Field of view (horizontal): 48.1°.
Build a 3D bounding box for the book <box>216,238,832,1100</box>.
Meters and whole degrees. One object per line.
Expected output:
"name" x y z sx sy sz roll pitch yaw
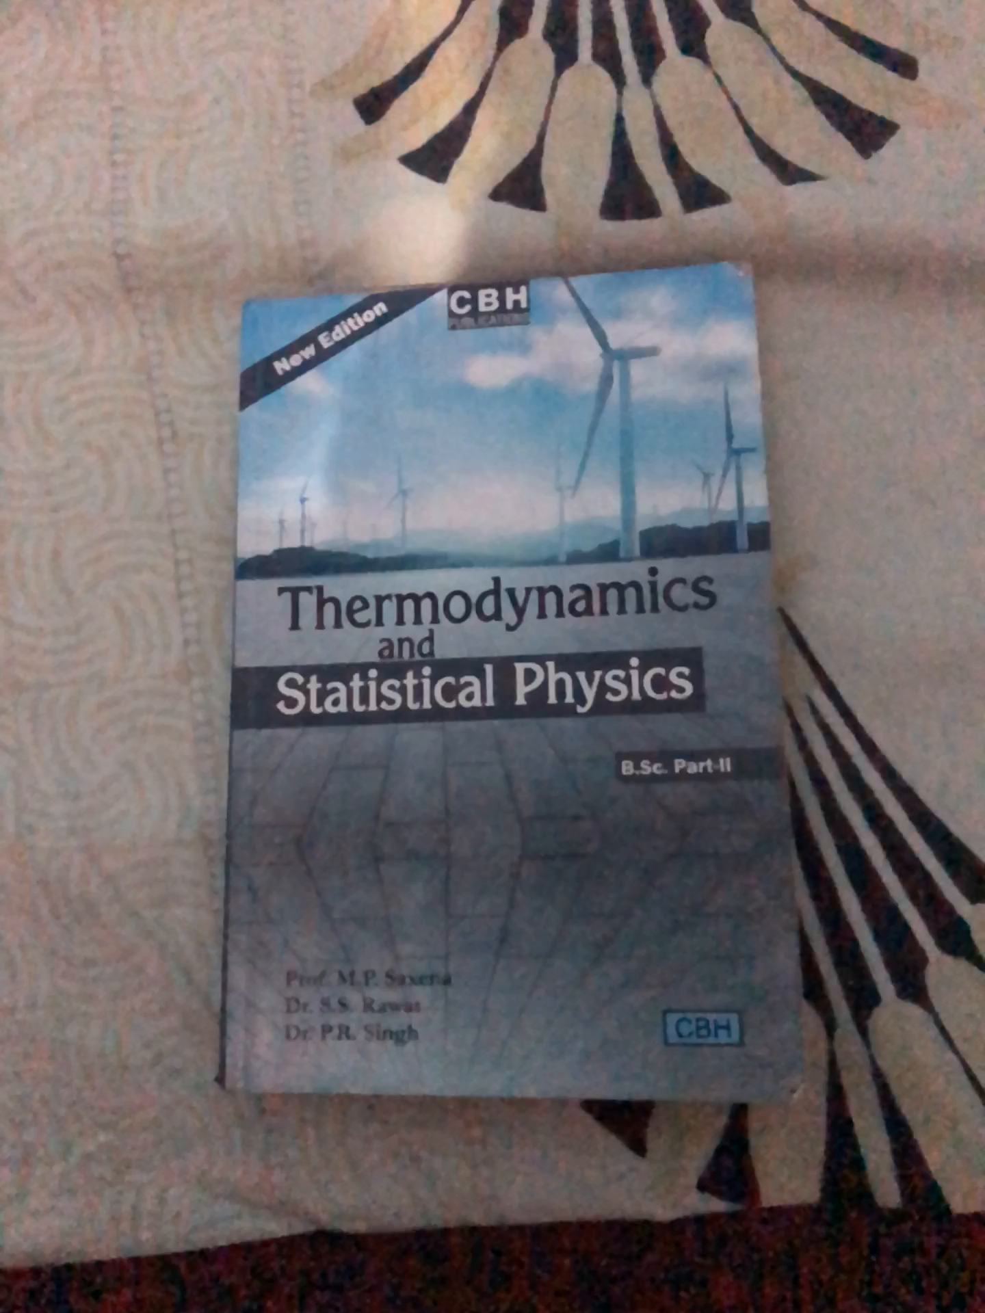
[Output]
"book" 0.004 0.004 0.332 0.170 0.030 0.240 -3 83 8
